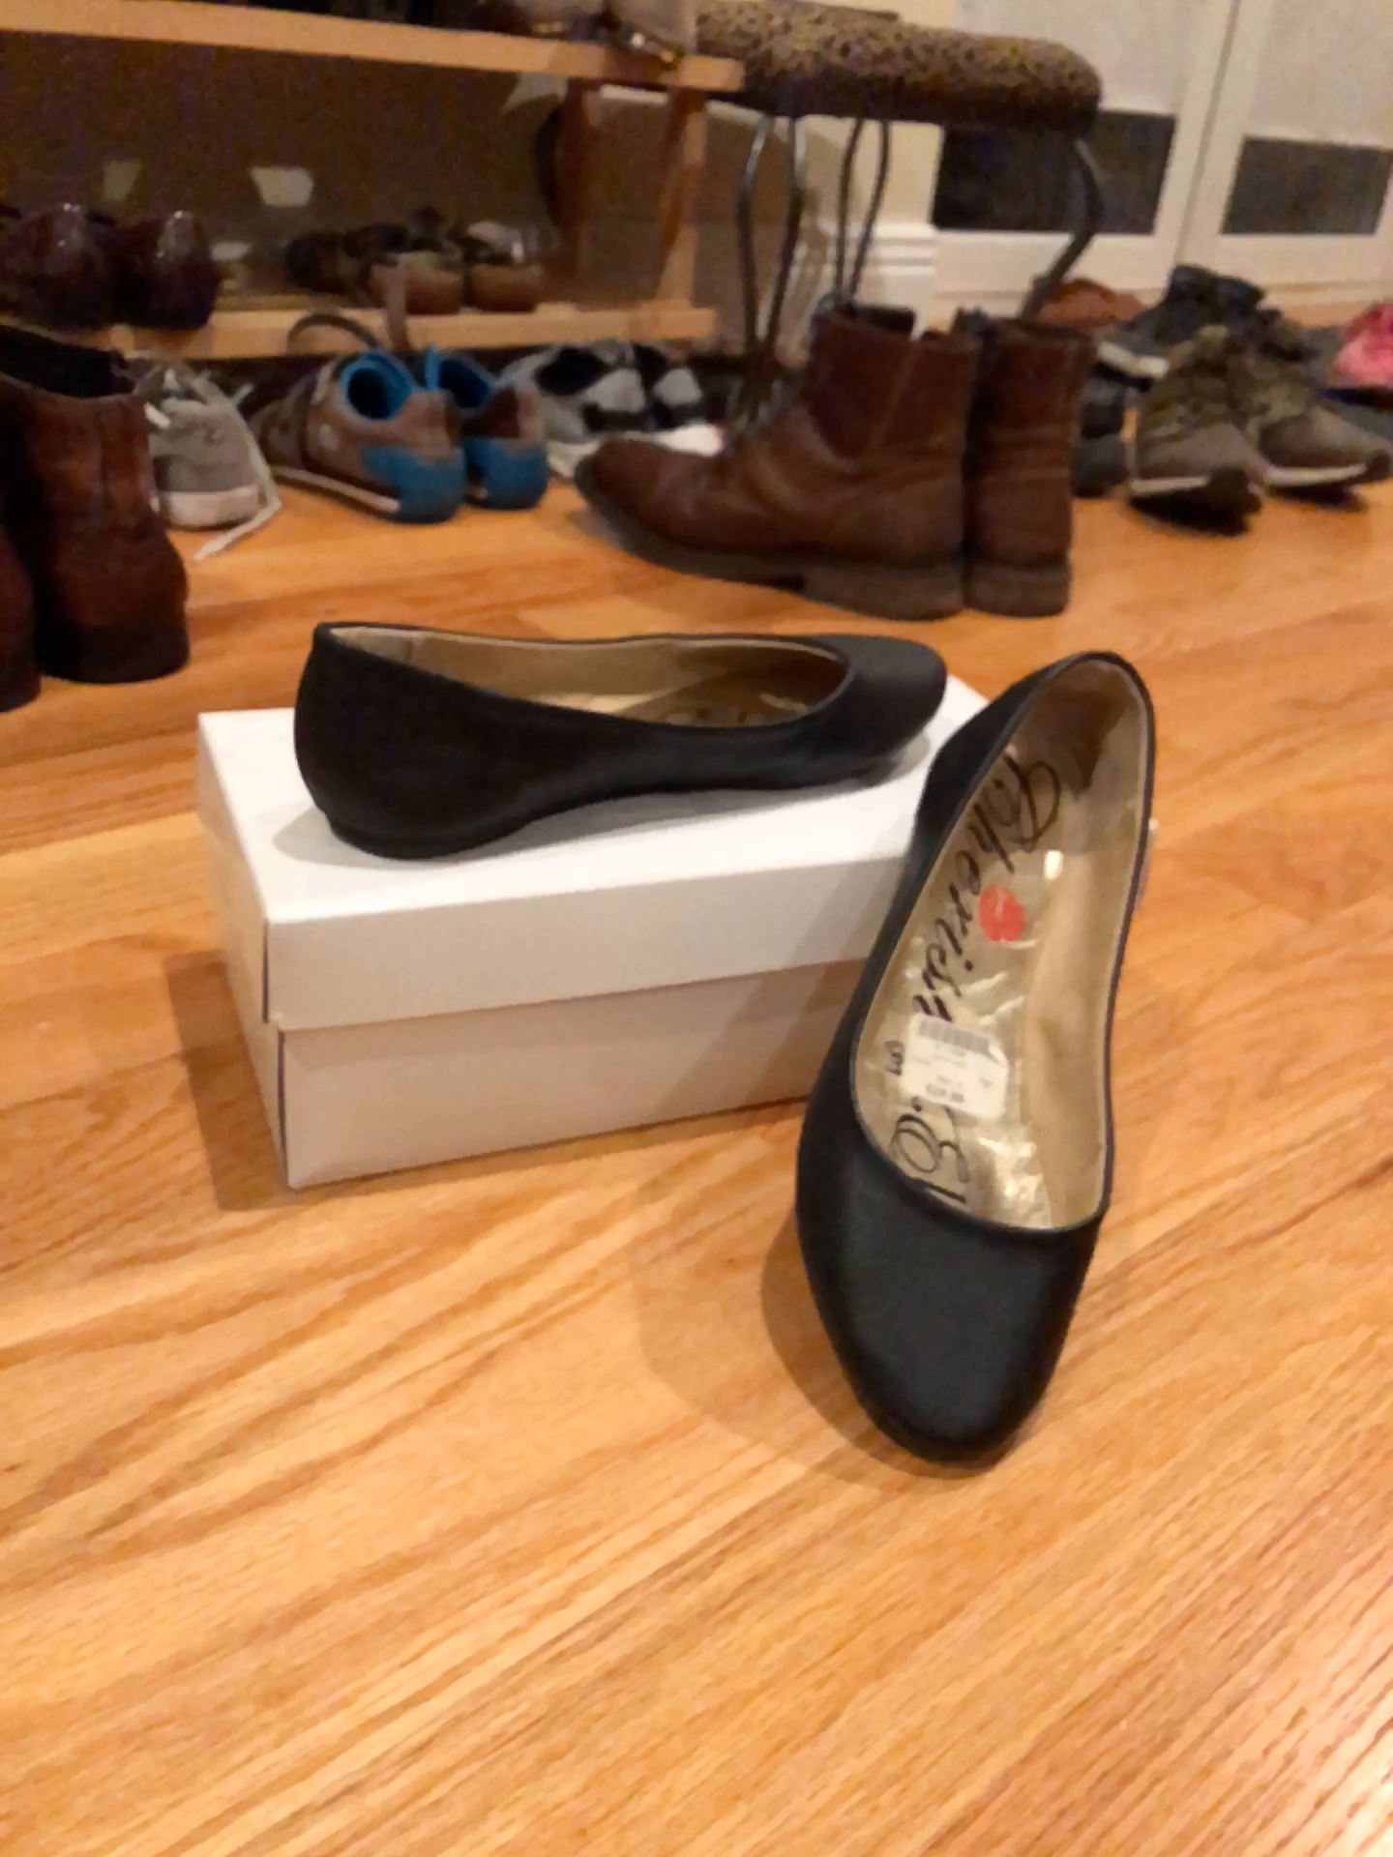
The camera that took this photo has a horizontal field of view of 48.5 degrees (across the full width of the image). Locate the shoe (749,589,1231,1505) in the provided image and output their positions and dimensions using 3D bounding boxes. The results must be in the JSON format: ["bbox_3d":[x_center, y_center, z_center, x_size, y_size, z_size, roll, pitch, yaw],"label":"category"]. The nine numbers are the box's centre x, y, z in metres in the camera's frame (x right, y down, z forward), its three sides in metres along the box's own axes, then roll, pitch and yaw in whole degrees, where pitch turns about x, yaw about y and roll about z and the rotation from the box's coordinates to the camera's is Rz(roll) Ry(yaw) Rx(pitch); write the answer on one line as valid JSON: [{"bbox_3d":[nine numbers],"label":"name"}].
[{"bbox_3d":[0.087,0.028,0.436,0.076,0.060,0.241,19,65,-7],"label":"shoe"}]

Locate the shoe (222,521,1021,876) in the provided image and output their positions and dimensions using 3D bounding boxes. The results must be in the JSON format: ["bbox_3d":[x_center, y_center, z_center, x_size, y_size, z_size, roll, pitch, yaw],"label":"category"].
[{"bbox_3d":[-0.017,-0.081,0.487,0.240,0.060,0.076,-13,35,-30],"label":"shoe"}]
